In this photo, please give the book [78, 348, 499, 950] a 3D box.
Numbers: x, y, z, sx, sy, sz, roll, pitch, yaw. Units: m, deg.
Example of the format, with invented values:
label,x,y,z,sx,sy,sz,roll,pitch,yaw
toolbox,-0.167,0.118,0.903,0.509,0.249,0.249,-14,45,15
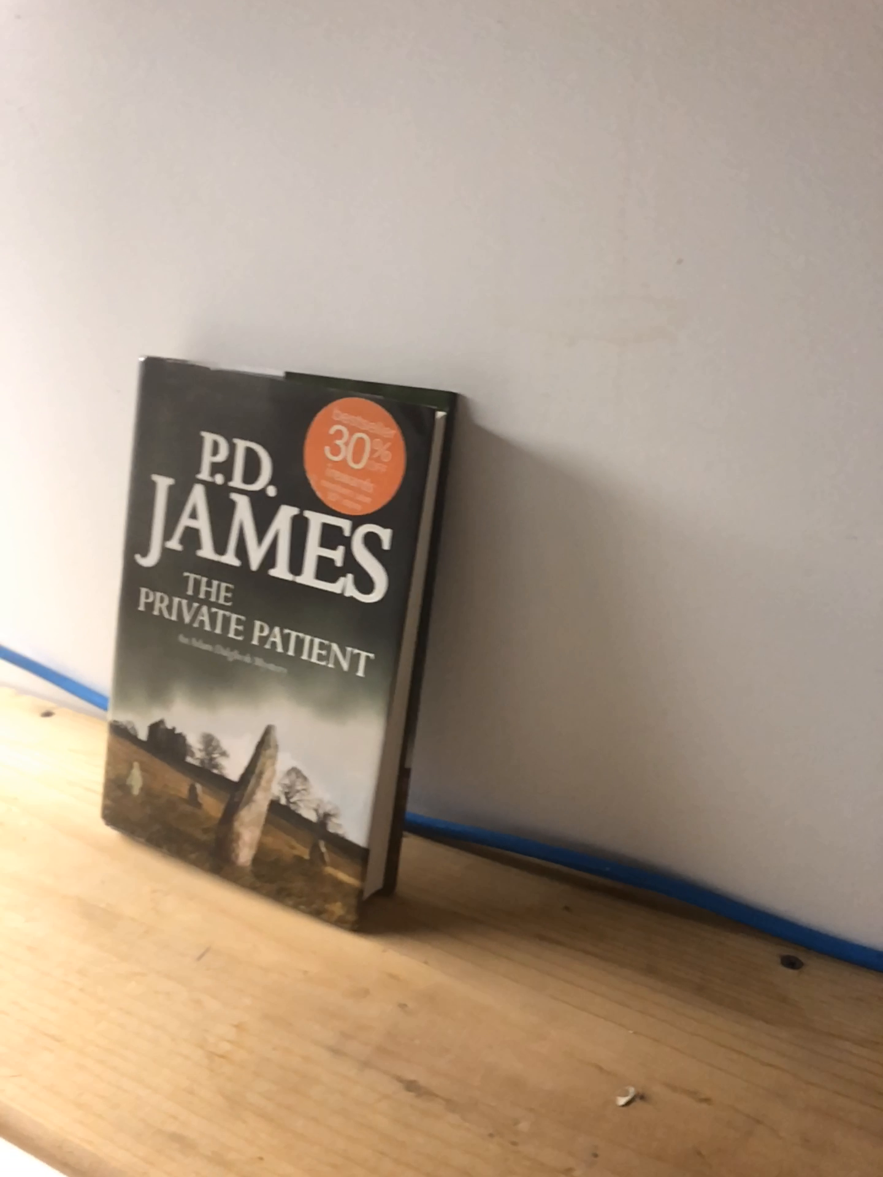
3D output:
label,x,y,z,sx,sy,sz,roll,pitch,yaw
book,-0.080,0.017,0.449,0.180,0.229,0.040,14,10,29
